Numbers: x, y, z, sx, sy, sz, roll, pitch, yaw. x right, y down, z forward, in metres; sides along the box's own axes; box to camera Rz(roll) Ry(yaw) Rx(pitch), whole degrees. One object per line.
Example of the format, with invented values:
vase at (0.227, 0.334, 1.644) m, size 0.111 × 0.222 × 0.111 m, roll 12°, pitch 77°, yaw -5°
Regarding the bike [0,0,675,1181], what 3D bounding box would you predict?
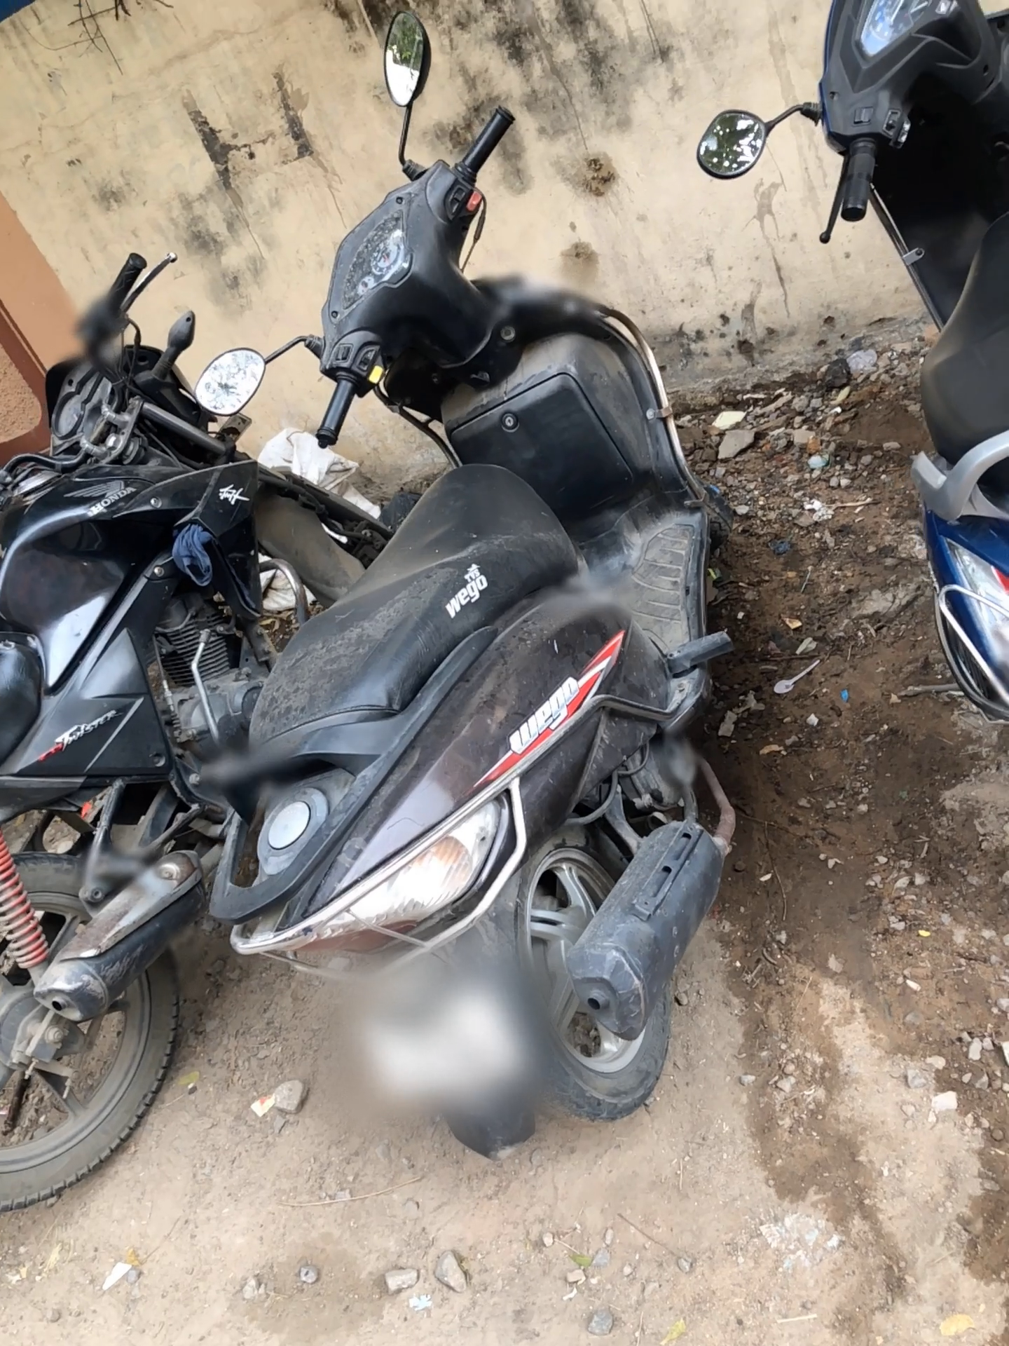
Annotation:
bike at (-0.195, -0.272, 1.833) m, size 0.528 × 1.114 × 1.567 m, roll -16°, pitch 35°, yaw 19°
